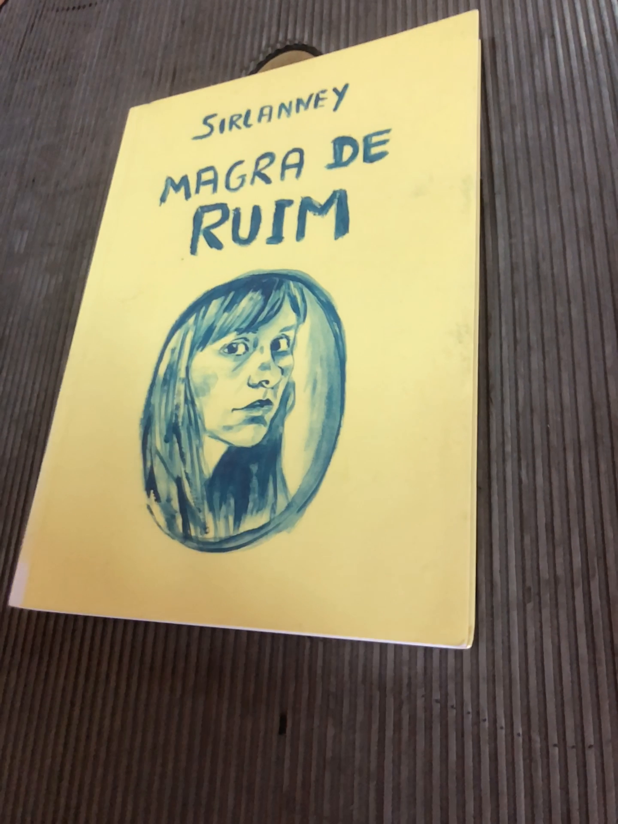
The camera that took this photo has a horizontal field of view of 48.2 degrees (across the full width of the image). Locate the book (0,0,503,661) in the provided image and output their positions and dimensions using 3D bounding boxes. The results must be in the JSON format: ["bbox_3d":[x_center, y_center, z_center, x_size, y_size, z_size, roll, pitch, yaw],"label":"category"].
[{"bbox_3d":[-0.015,-0.036,0.232,0.150,0.020,0.210,-3,69,24],"label":"book"}]
